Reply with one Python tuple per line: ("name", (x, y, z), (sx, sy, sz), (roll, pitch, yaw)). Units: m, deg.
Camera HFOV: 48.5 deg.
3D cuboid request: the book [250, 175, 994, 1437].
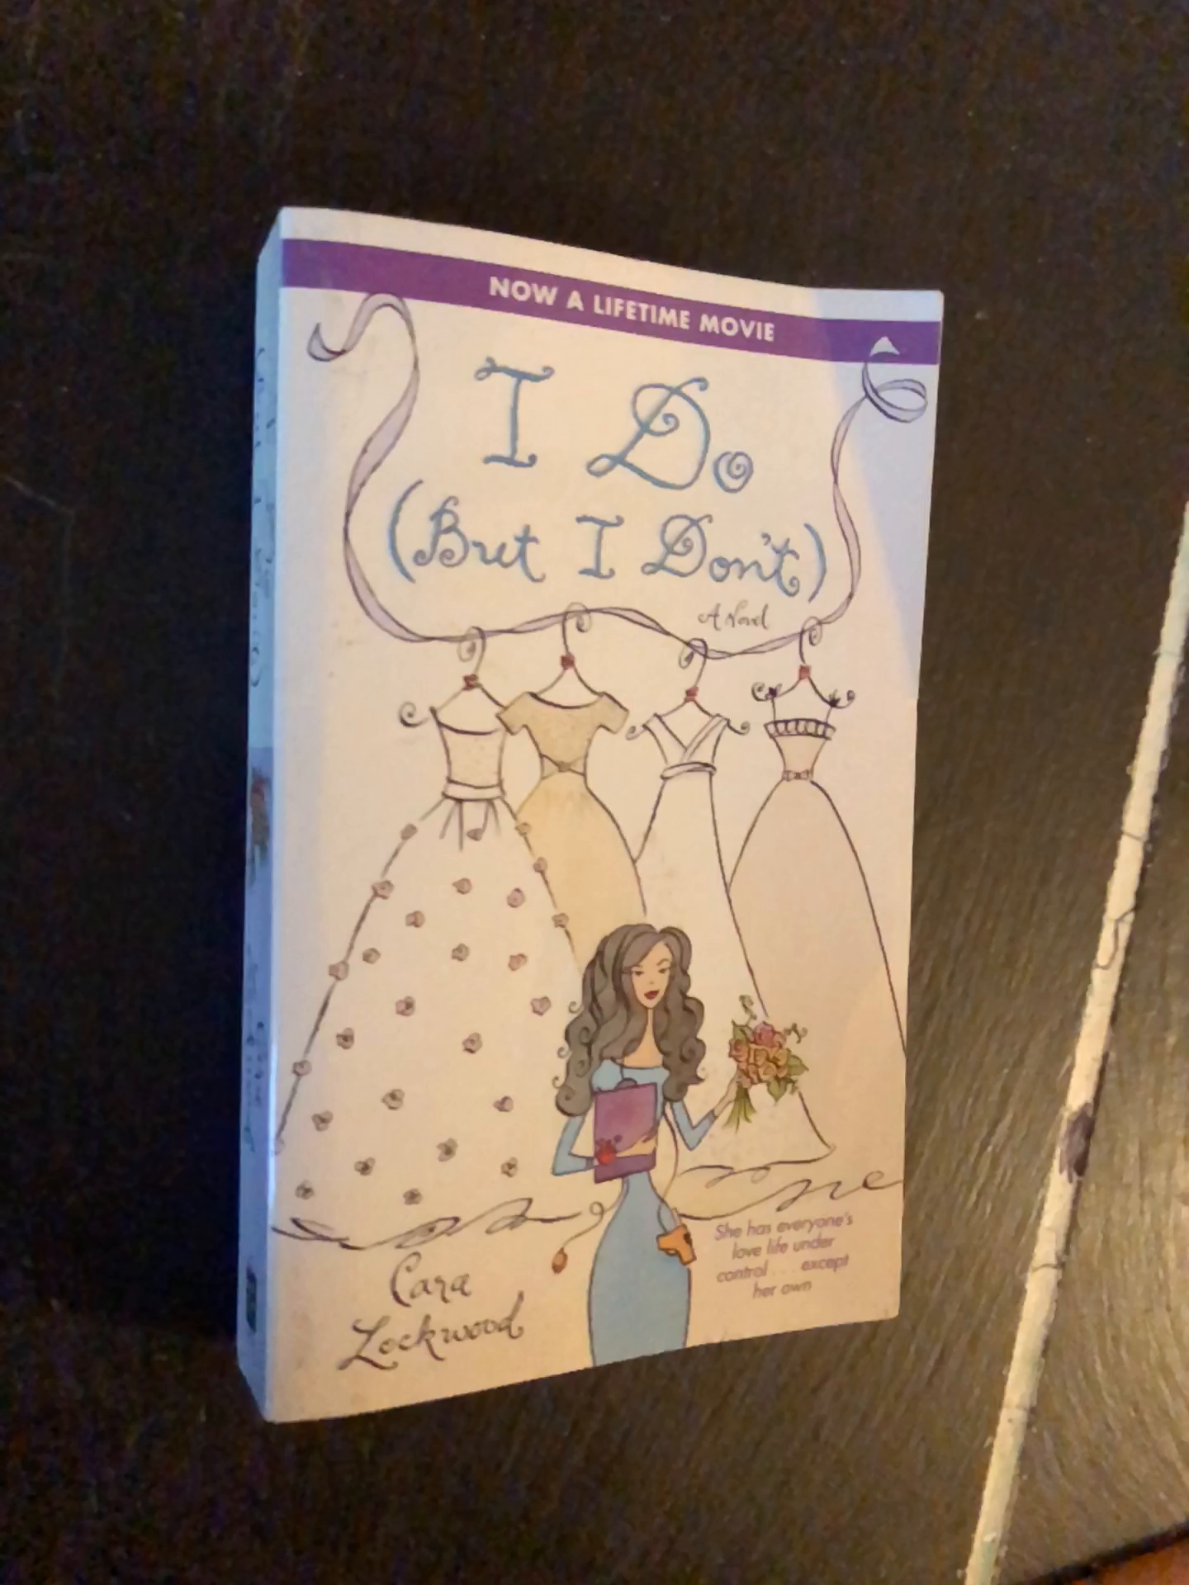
("book", (0.006, 0.003, 0.208), (0.110, 0.032, 0.164), (0, 92, -23))
